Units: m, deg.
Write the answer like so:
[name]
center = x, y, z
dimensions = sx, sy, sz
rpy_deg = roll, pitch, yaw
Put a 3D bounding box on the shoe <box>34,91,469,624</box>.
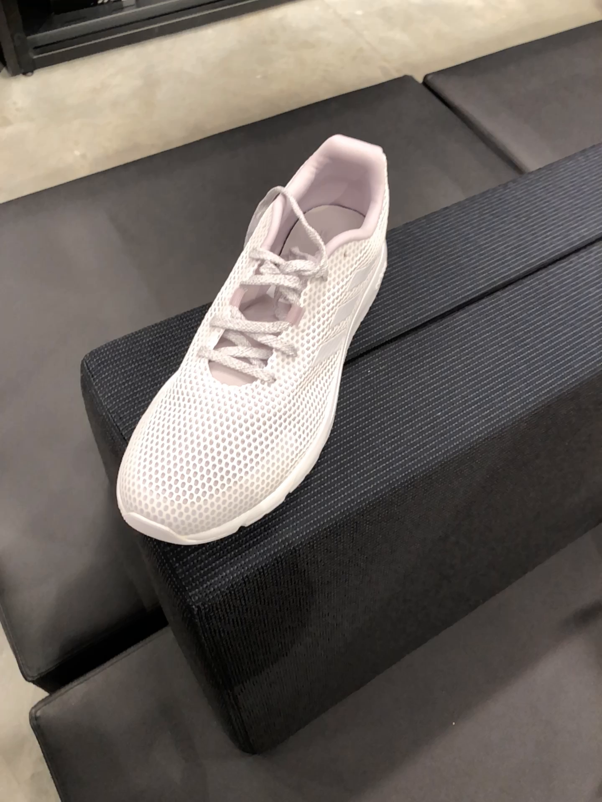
[shoe]
center = -0.012, -0.035, 0.414
dimensions = 0.120, 0.140, 0.281
rpy_deg = 23, 60, 8
